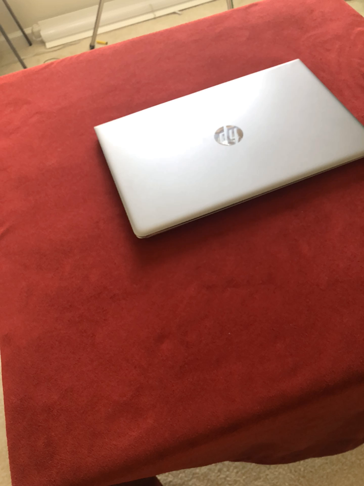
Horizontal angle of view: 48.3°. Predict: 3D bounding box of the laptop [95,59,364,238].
[{"bbox_3d":[0.072,-0.164,0.629,0.372,0.006,0.234,-21,58,-7],"label":"laptop"}]
